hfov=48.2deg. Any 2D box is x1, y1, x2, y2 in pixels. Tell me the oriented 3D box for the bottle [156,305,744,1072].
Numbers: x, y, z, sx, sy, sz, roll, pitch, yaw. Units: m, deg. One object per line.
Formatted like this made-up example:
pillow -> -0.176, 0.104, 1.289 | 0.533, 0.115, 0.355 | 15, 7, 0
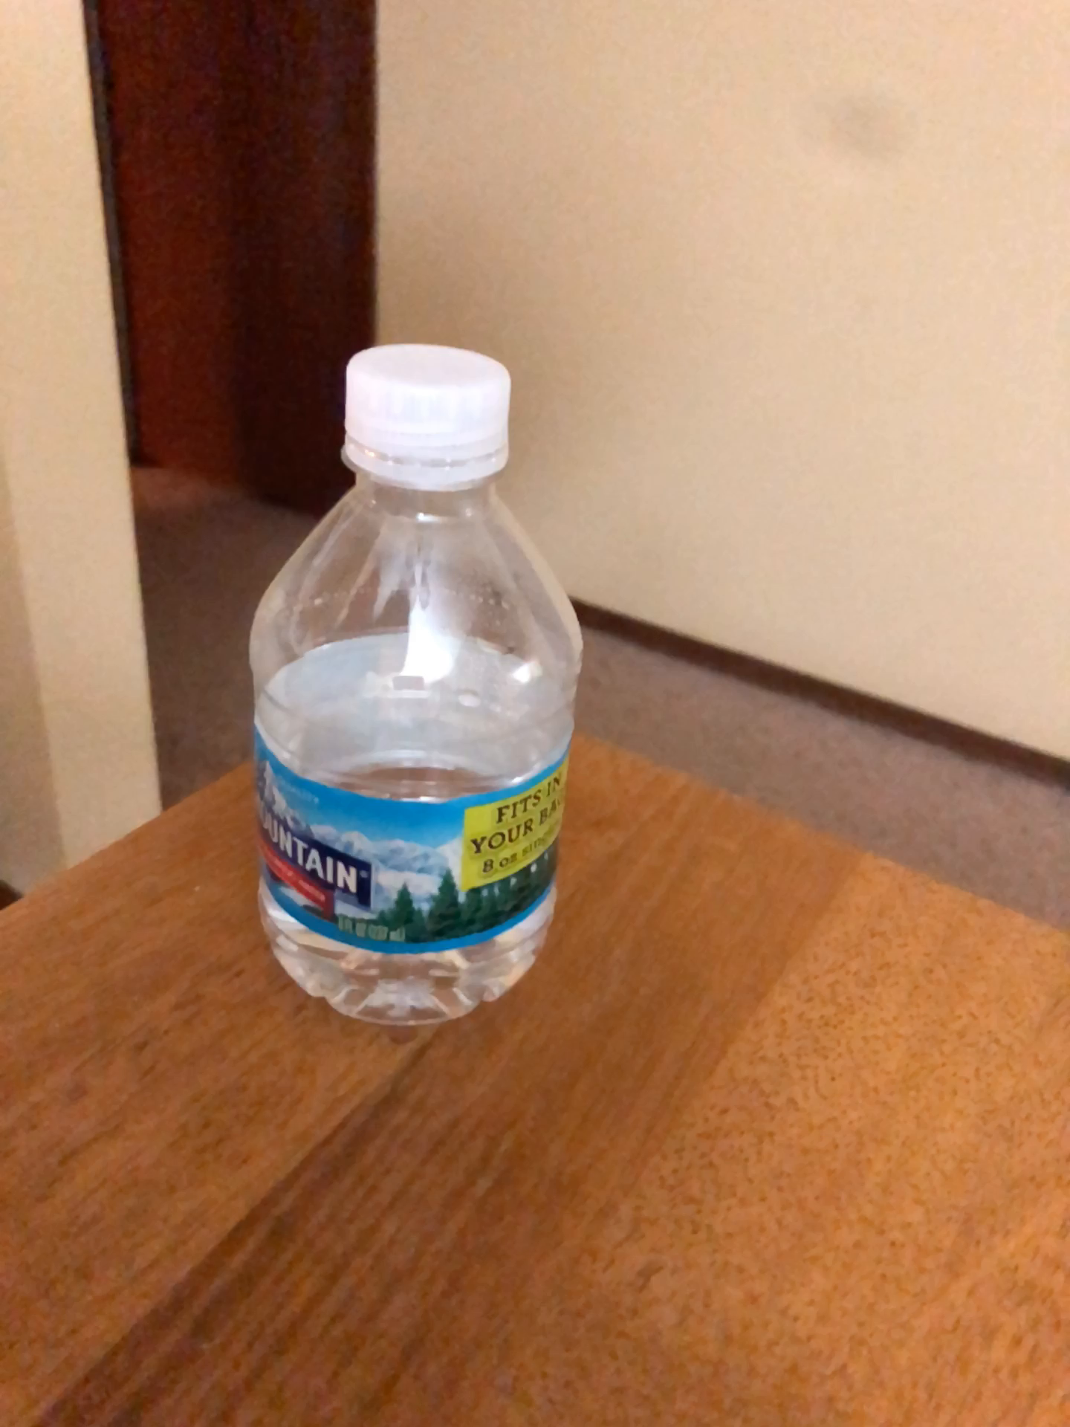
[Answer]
bottle -> -0.020, -0.009, 0.220 | 0.070, 0.110, 0.070 | 4, 30, -2
